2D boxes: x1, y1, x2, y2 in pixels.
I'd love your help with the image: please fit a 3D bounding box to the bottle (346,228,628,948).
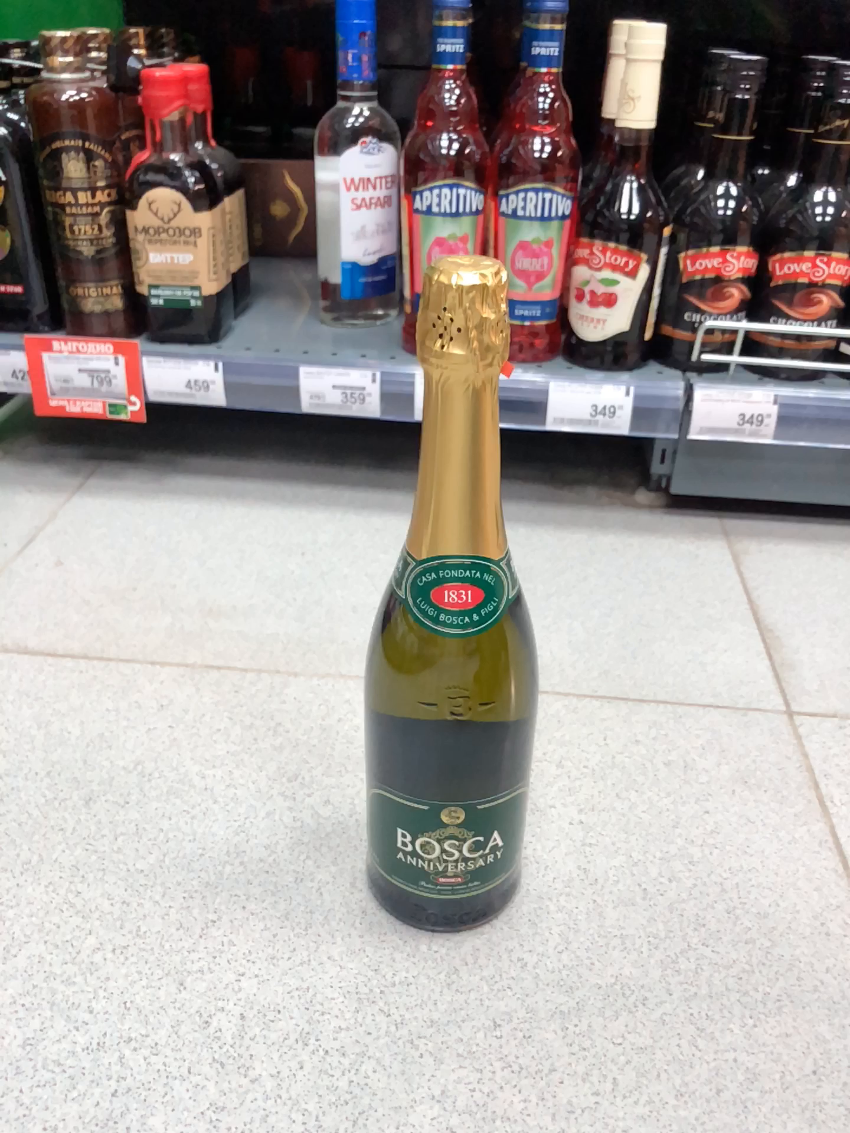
[{"bbox_3d":[0.018,0.024,0.417,0.090,0.314,0.091,1,30,-1],"label":"bottle"}]
